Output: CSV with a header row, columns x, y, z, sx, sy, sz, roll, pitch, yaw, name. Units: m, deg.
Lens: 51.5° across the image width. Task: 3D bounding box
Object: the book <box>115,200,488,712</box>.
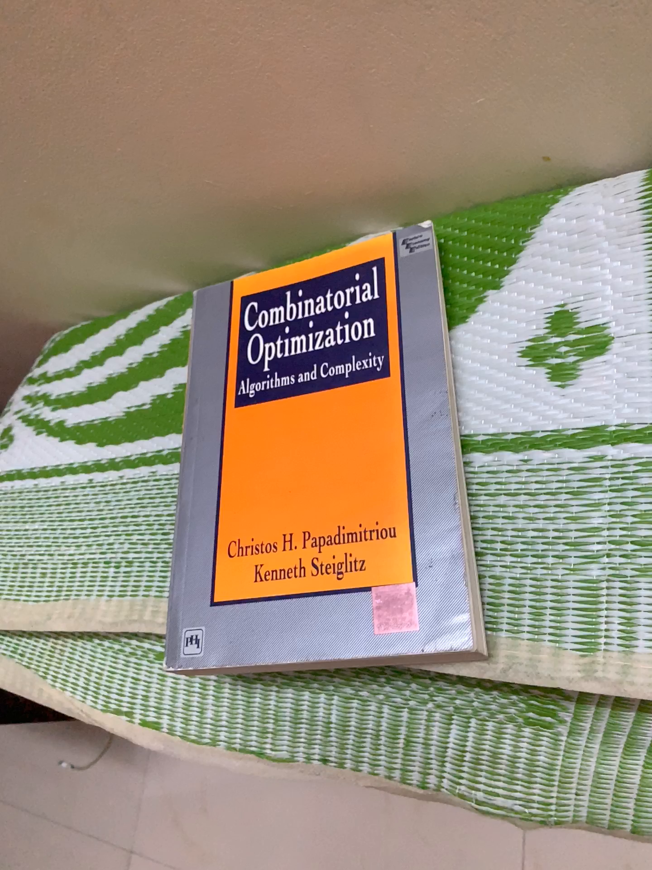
x,y,z,sx,sy,sz,roll,pitch,yaw,name
-0.014,0.003,0.377,0.170,0.040,0.271,-11,59,19,book
